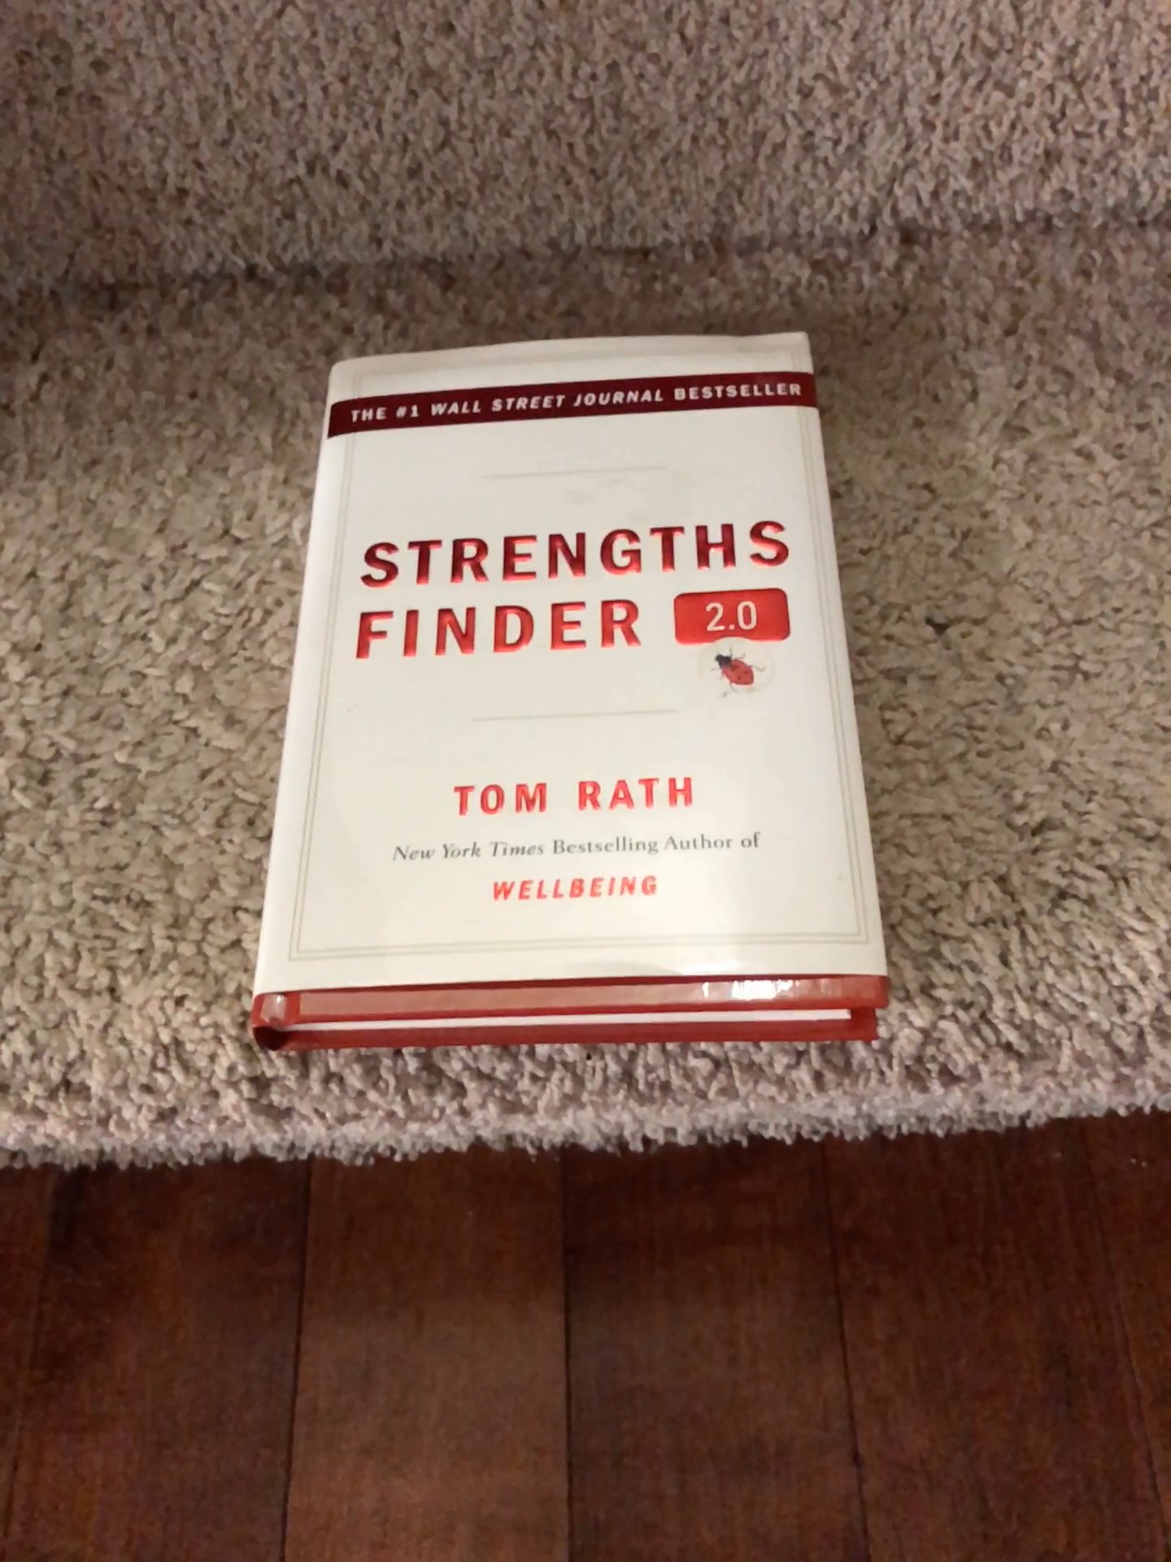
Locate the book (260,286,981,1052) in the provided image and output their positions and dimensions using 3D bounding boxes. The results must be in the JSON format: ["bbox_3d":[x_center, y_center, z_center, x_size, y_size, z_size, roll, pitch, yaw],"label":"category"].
[{"bbox_3d":[0.007,-0.035,0.305,0.136,0.029,0.190,-1,61,3],"label":"book"}]
